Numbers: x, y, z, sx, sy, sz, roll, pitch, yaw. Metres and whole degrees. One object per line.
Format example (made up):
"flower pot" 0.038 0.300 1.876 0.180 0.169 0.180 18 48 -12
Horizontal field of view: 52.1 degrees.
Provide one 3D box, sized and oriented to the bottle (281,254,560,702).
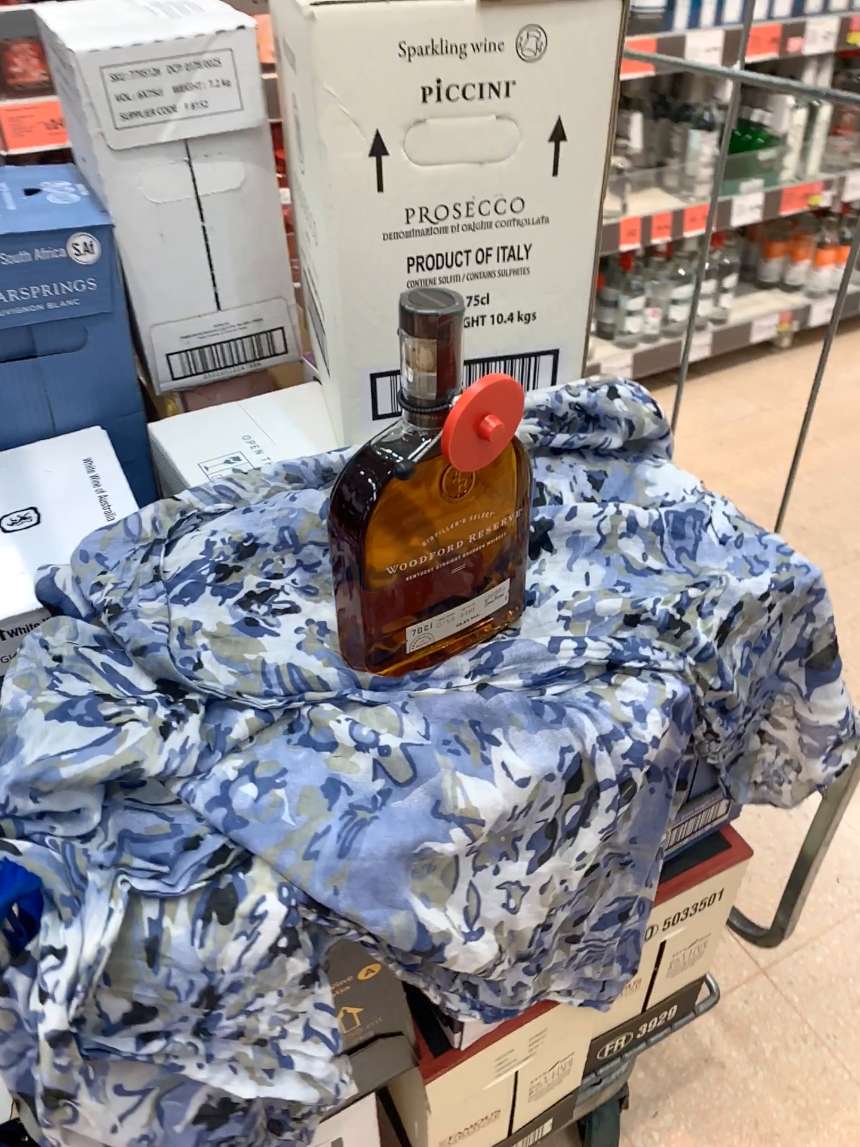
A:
"bottle" 0.001 -0.049 0.503 0.134 0.222 0.051 -24 42 -26
